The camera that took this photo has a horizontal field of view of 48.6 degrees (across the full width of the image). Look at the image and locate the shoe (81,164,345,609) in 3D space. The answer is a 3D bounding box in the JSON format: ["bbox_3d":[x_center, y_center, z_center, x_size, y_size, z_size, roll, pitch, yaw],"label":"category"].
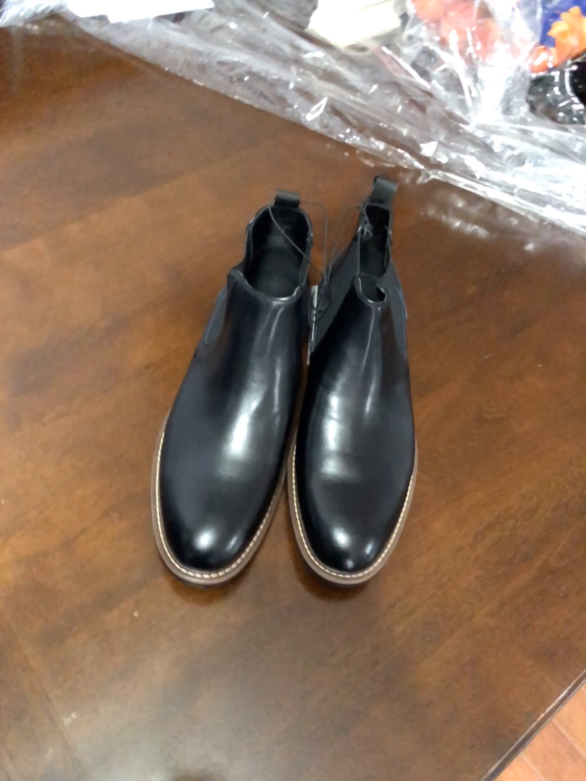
[{"bbox_3d":[-0.049,-0.006,0.526,0.120,0.170,0.301,11,58,0],"label":"shoe"}]

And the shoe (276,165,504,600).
[{"bbox_3d":[0.061,-0.007,0.527,0.120,0.170,0.301,5,59,-4],"label":"shoe"}]
